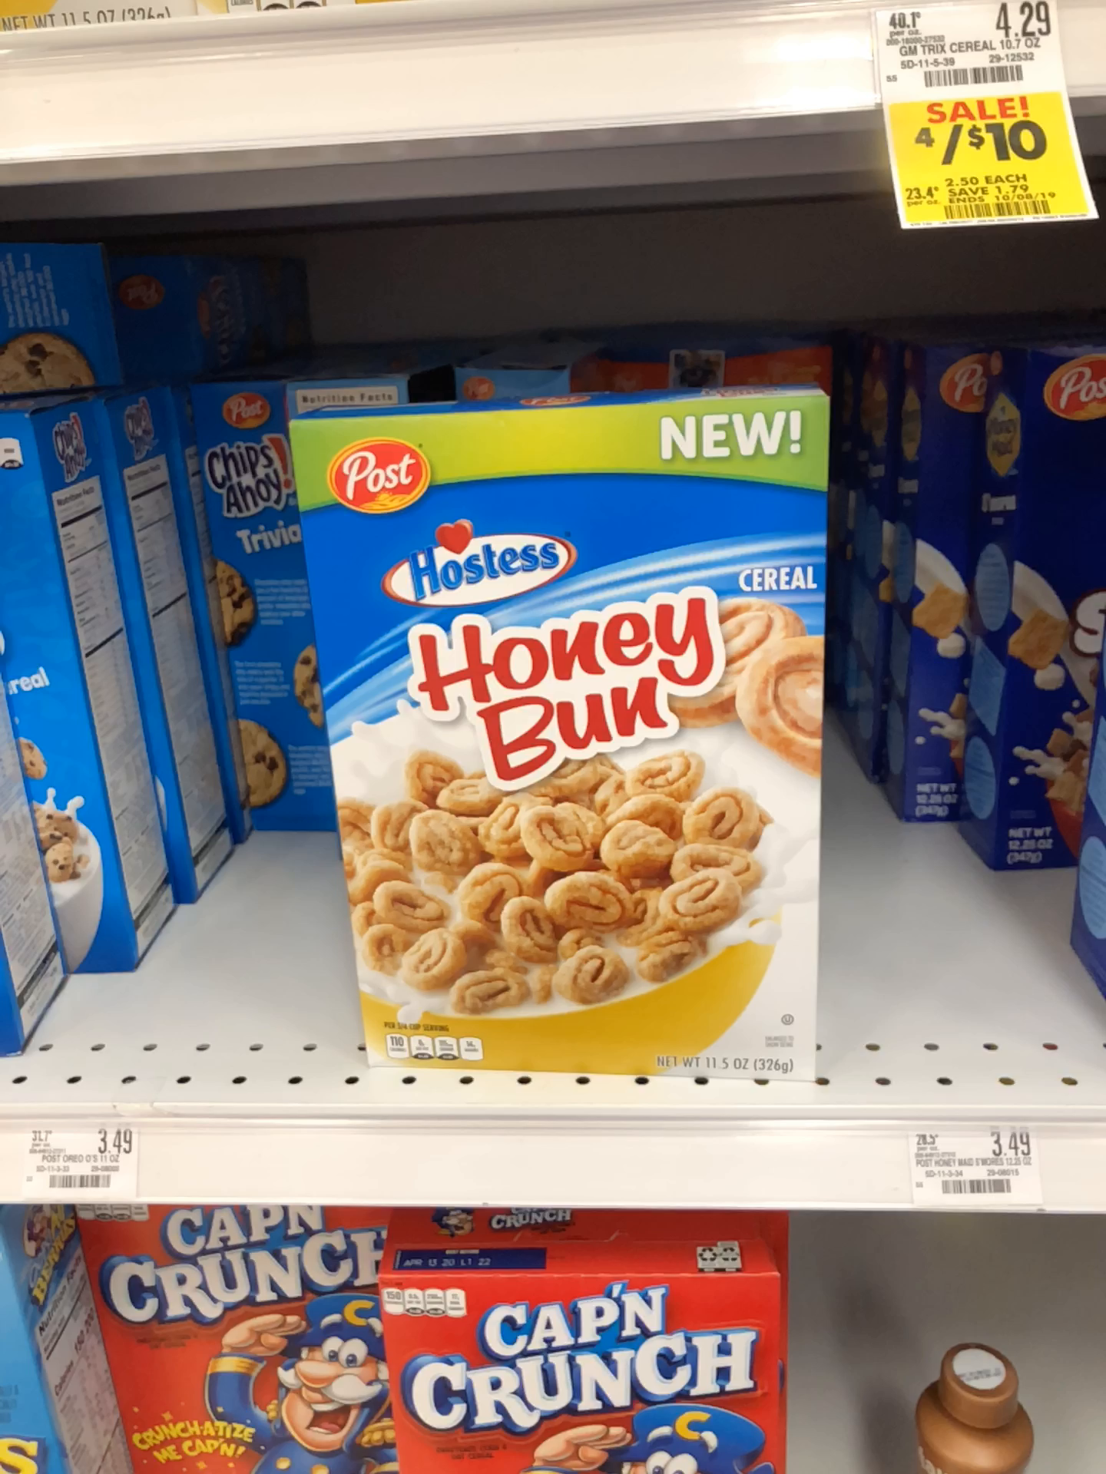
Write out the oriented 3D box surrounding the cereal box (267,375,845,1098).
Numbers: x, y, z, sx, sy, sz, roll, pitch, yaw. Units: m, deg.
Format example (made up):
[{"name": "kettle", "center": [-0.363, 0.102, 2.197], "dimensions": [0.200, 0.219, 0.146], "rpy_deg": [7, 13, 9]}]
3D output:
[{"name": "cereal box", "center": [0.009, 0.003, 0.519], "dimensions": [0.210, 0.289, 0.070], "rpy_deg": [0, 18, 7]}]
